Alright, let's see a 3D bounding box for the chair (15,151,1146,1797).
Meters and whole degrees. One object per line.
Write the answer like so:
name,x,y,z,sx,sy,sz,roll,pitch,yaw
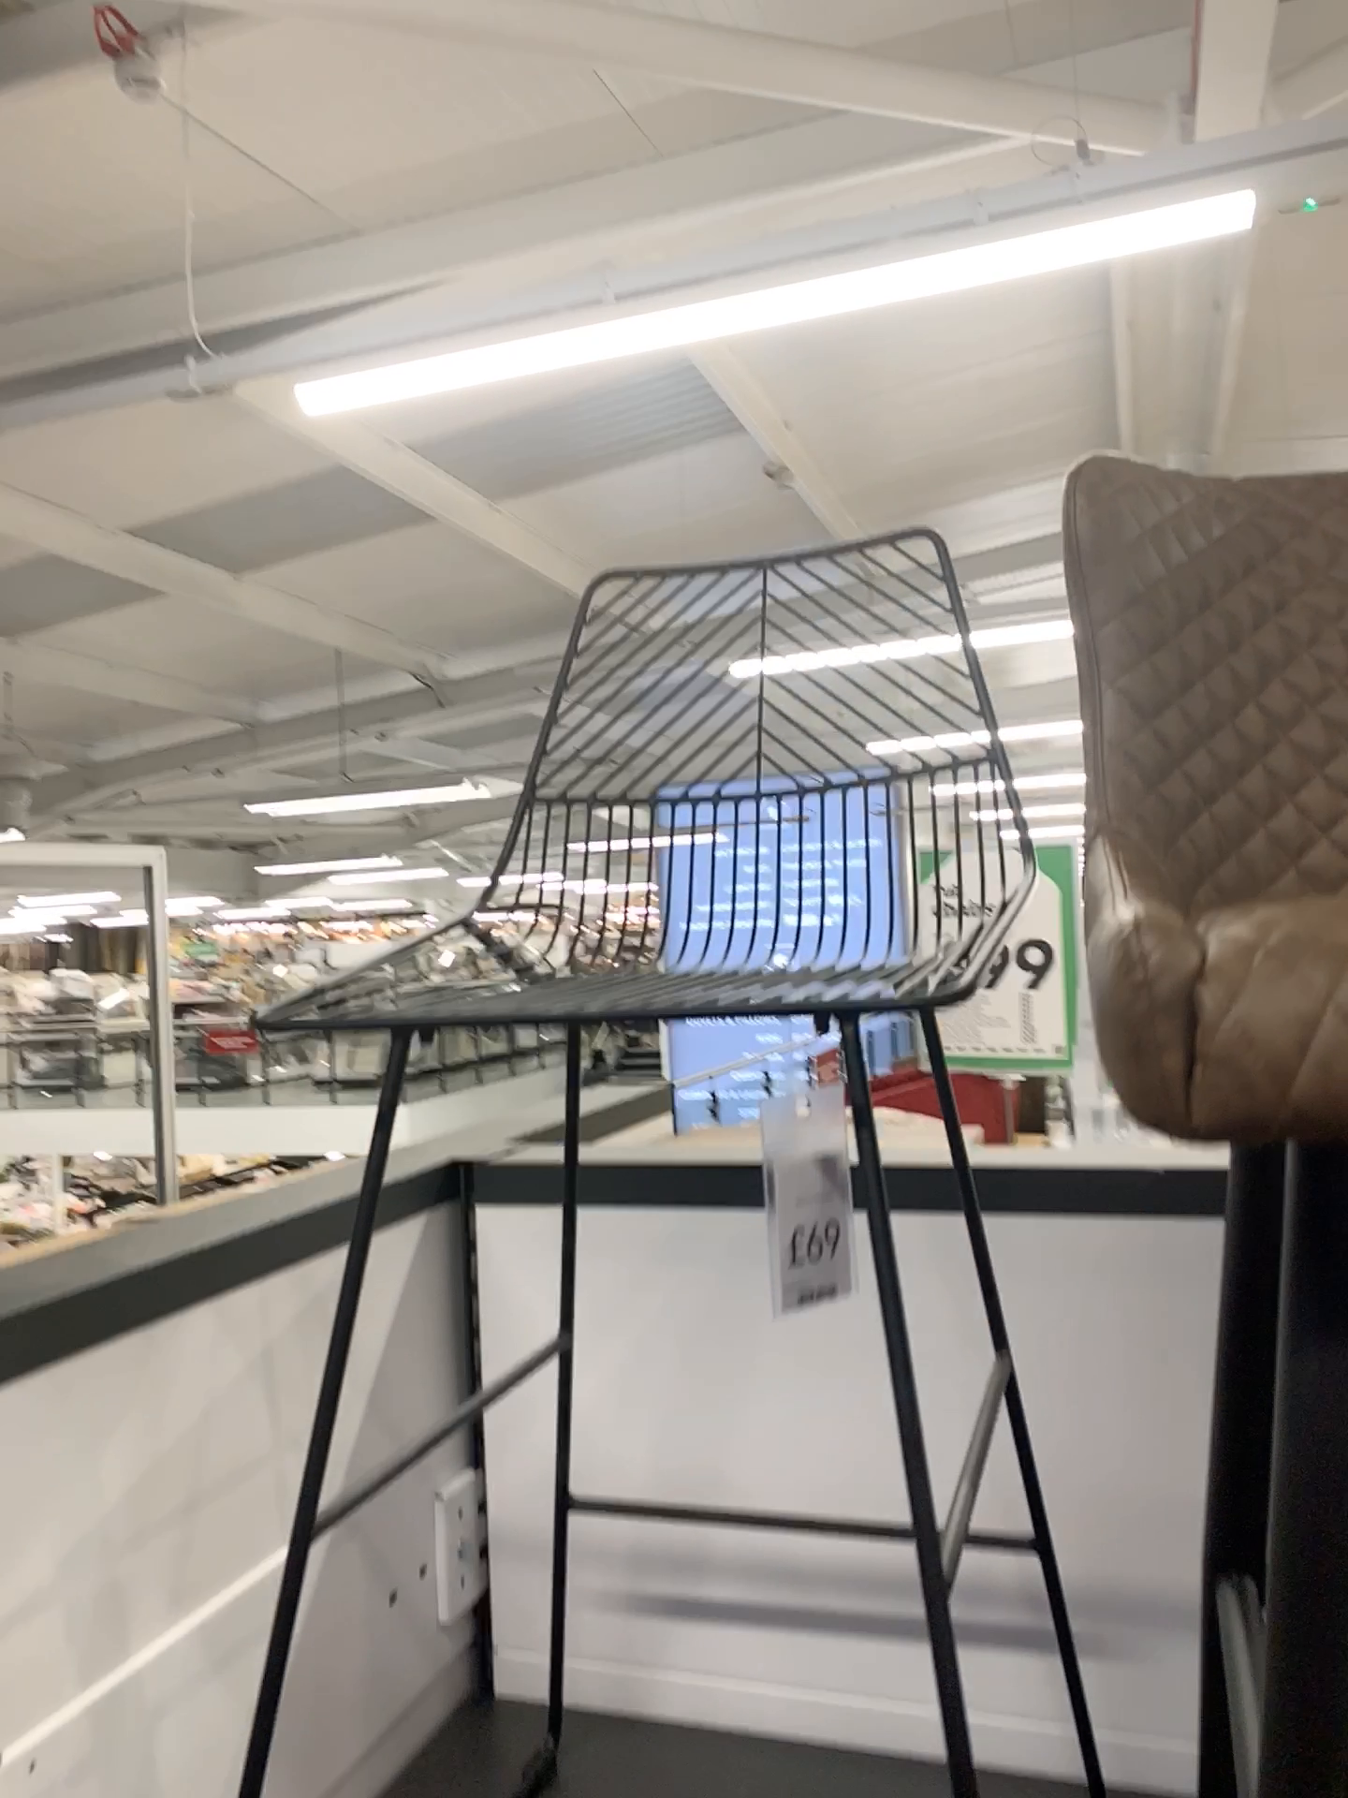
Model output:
chair,0.000,0.183,0.888,0.508,0.969,0.528,-4,-2,18
